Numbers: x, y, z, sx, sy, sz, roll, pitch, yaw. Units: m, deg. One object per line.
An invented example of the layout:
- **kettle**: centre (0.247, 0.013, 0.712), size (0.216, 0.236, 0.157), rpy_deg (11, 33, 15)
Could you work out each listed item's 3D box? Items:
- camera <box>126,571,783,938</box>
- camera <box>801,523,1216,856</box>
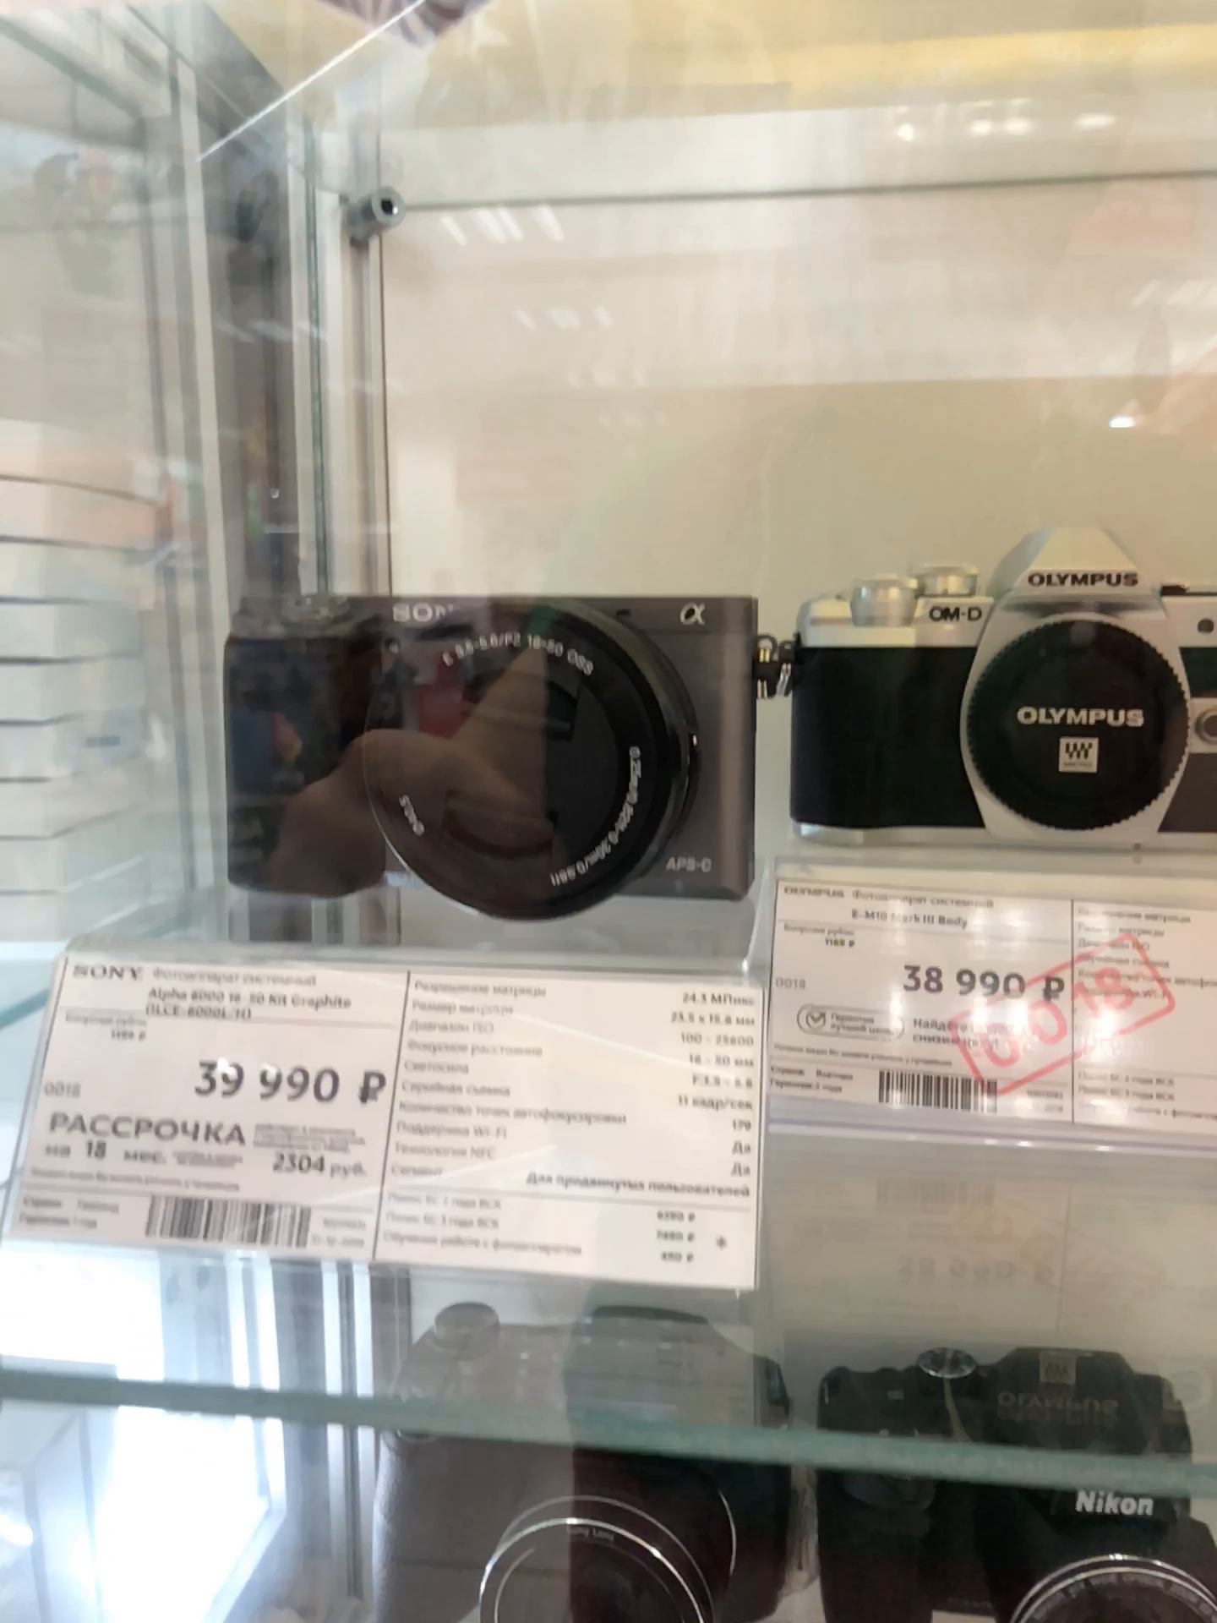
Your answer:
- **camera**: centre (-0.028, -0.014, 0.301), size (0.130, 0.070, 0.066), rpy_deg (0, 6, 10)
- **camera**: centre (0.118, -0.035, 0.385), size (0.122, 0.081, 0.087), rpy_deg (0, 6, 10)
